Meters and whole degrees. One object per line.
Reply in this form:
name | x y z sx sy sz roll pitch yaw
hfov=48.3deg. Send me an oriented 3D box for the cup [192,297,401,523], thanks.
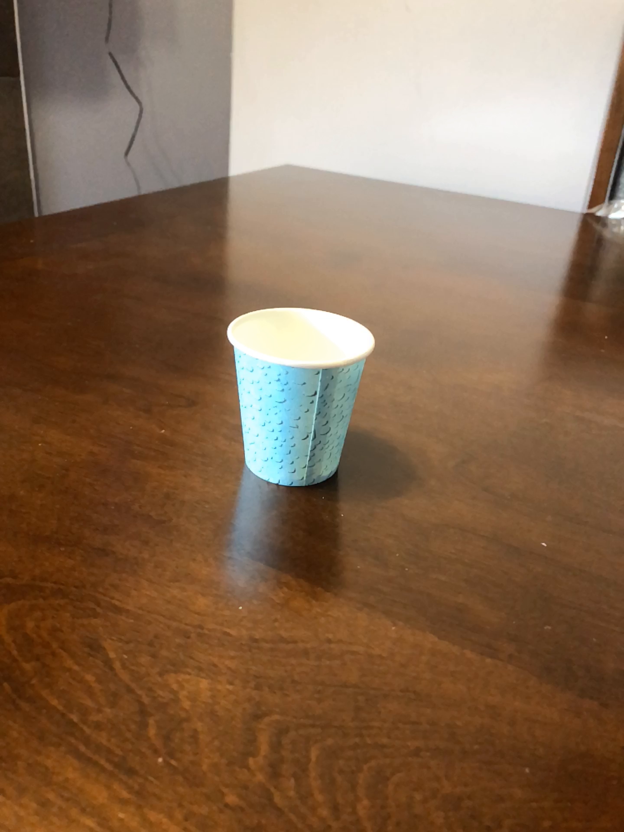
cup | -0.006 -0.006 0.283 0.060 0.060 0.060 4 27 -2
